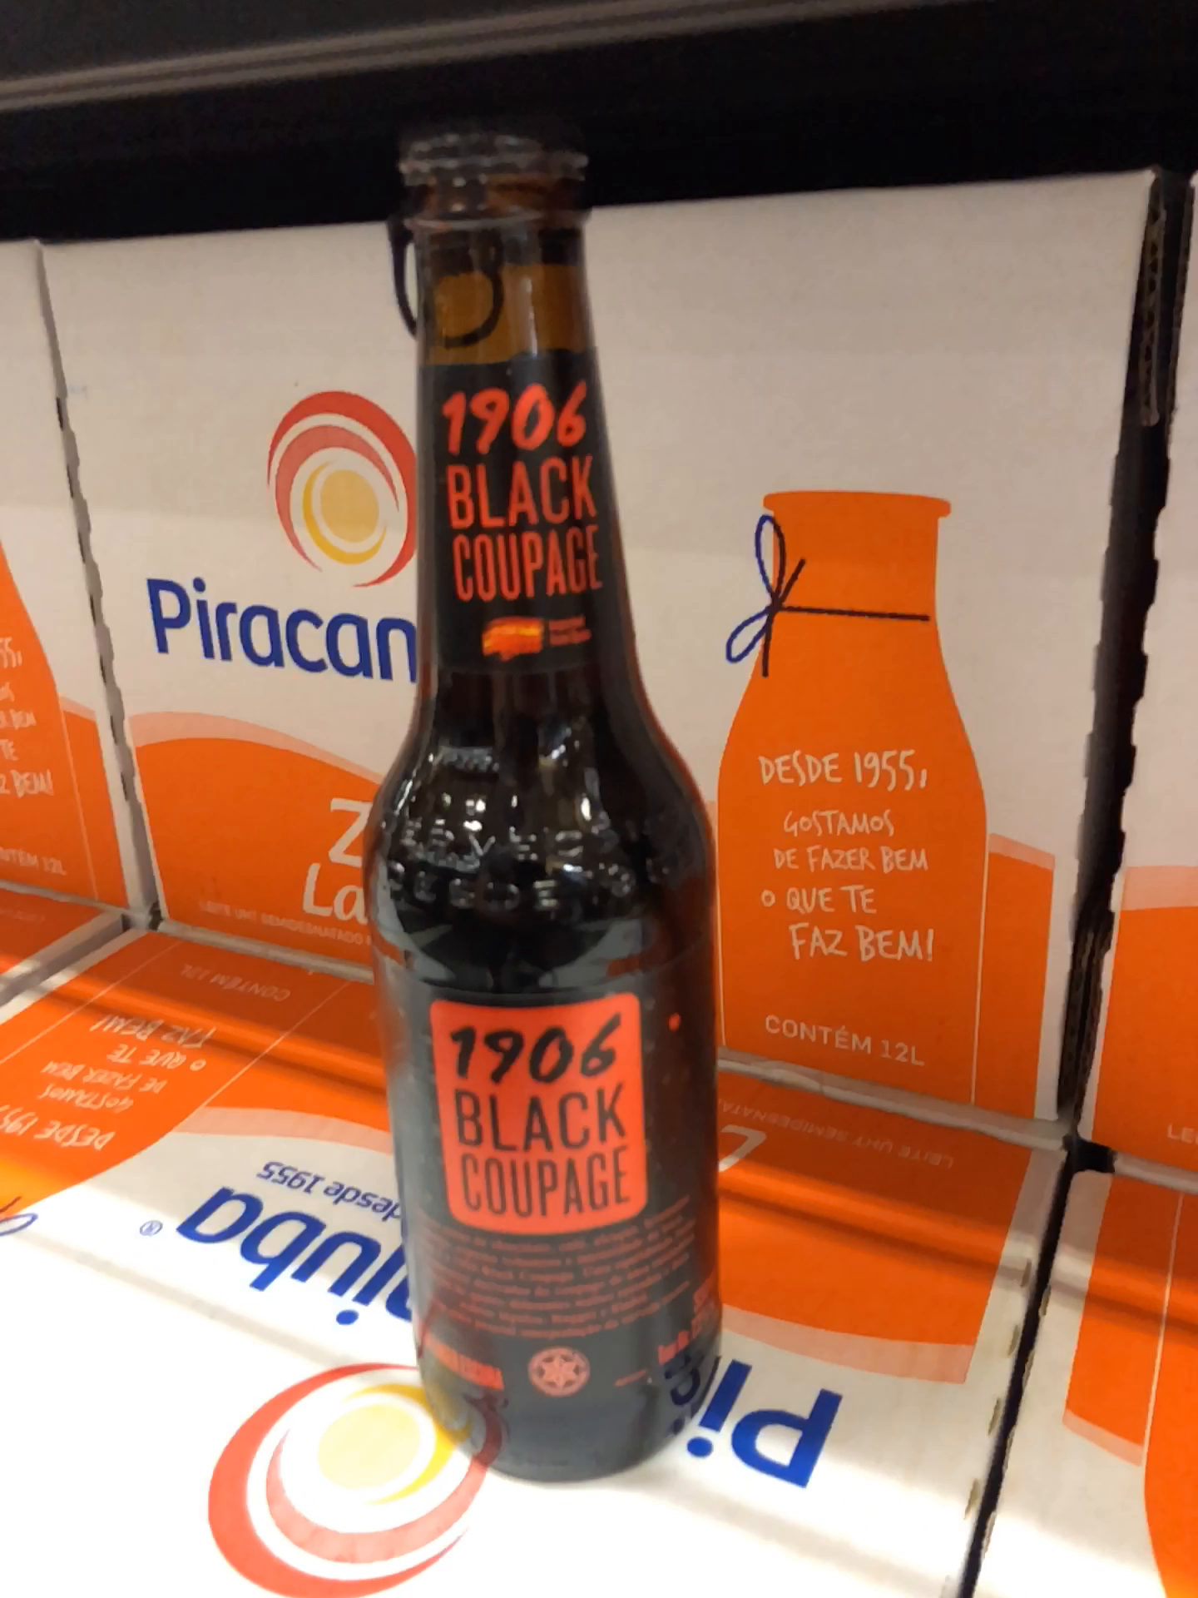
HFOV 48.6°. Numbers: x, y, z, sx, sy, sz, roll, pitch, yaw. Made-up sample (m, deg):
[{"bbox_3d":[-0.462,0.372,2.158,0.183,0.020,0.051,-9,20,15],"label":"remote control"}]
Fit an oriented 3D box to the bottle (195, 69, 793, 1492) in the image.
[{"bbox_3d":[-0.010,0.006,0.223,0.070,0.219,0.060,-3,21,-2],"label":"bottle"}]
